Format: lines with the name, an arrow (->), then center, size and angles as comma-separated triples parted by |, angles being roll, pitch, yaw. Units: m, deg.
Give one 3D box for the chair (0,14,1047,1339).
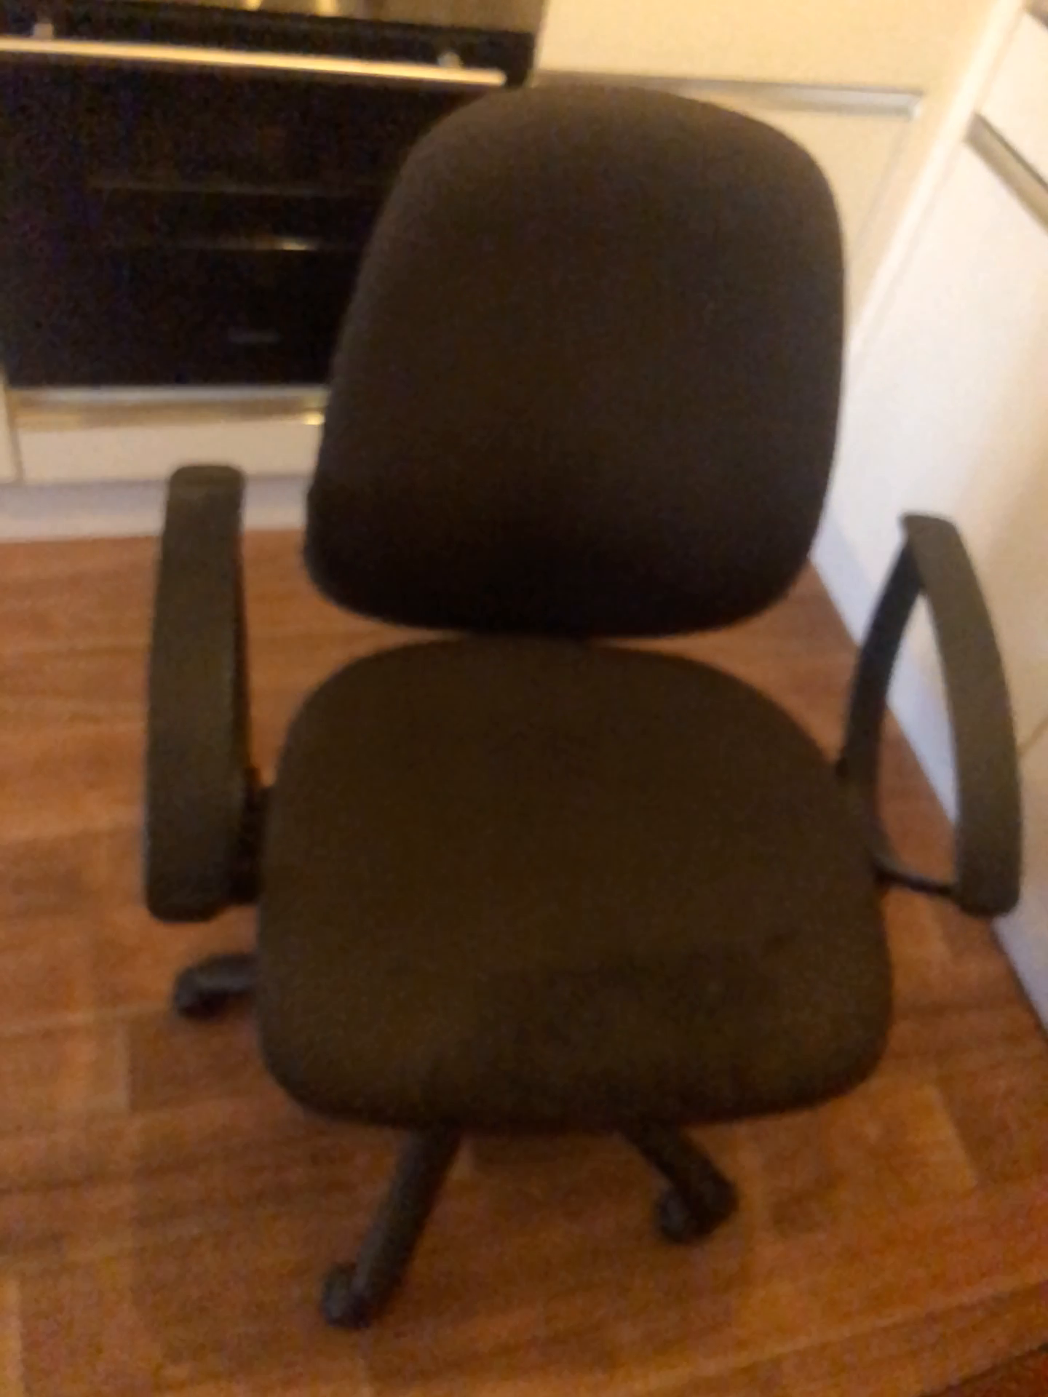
chair -> 0.036, 0.066, 0.966 | 0.673, 0.816, 0.655 | 4, 50, -10
